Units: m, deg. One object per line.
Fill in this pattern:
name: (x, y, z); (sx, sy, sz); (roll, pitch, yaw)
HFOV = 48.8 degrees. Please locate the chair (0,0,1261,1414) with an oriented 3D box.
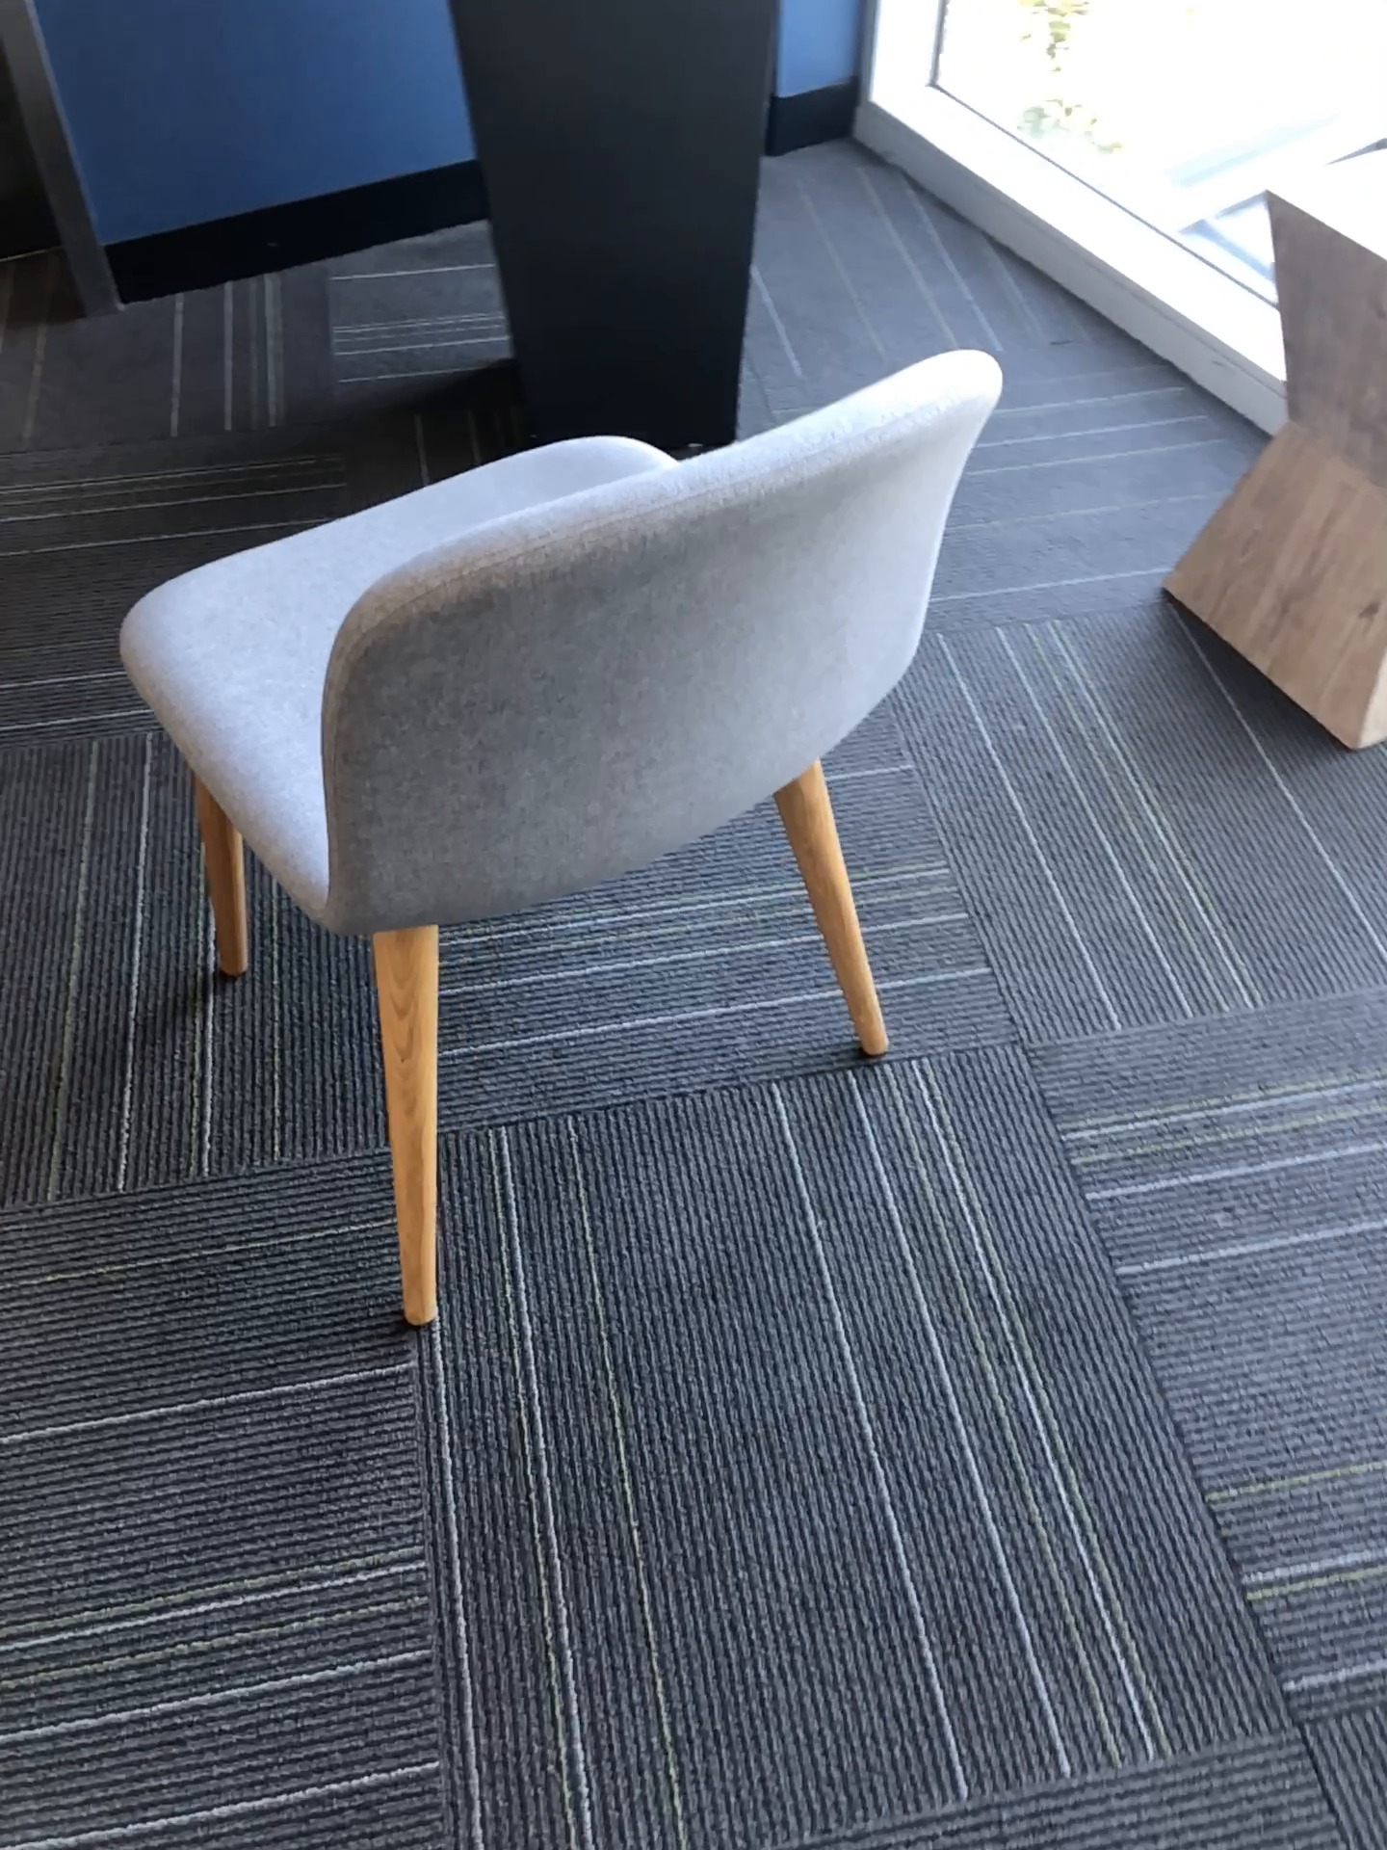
chair: (-0.137, -0.191, 1.139); (0.560, 0.846, 0.612); (-25, 57, -20)
